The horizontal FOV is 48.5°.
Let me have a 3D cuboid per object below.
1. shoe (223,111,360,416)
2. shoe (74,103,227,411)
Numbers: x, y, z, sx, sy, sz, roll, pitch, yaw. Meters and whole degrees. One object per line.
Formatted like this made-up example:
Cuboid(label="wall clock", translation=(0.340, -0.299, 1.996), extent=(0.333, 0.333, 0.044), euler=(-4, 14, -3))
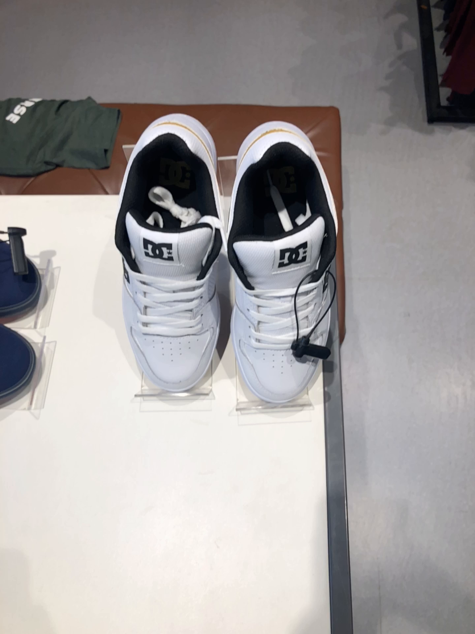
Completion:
Cuboid(label="shoe", translation=(0.039, -0.044, 0.474), extent=(0.095, 0.249, 0.102), euler=(-2, 29, -1))
Cuboid(label="shoe", translation=(-0.066, -0.050, 0.487), extent=(0.103, 0.259, 0.102), euler=(2, 30, 2))
